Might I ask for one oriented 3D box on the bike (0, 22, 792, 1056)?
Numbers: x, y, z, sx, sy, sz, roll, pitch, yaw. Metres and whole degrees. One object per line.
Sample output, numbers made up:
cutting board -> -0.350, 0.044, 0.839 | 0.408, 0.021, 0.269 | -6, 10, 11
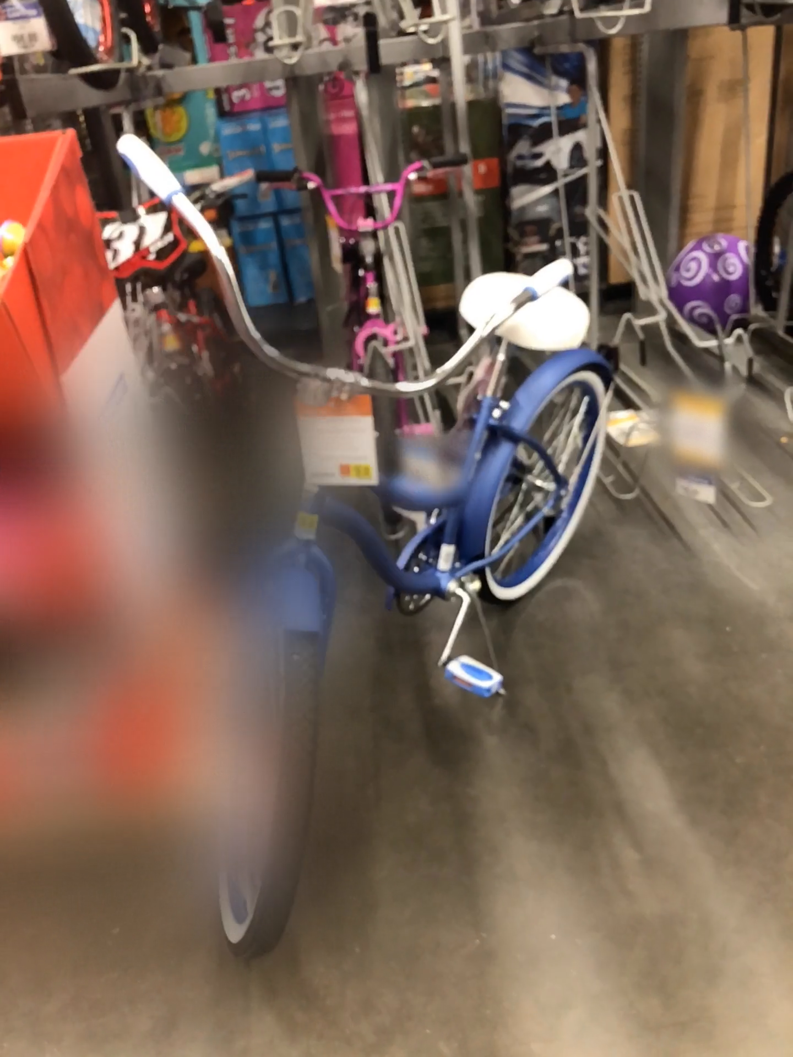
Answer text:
bike -> 0.134, -0.092, 1.496 | 0.857, 1.113, 1.359 | 11, 37, 28
